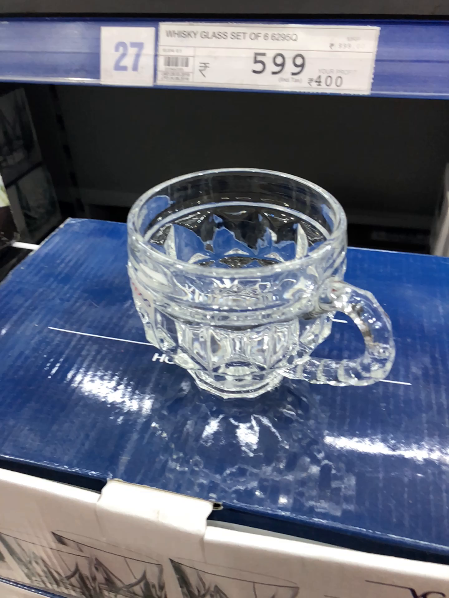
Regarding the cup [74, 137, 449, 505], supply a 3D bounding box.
[{"bbox_3d":[0.019,-0.006,0.186,0.090,0.060,0.110,-31,45,-33],"label":"cup"}]
